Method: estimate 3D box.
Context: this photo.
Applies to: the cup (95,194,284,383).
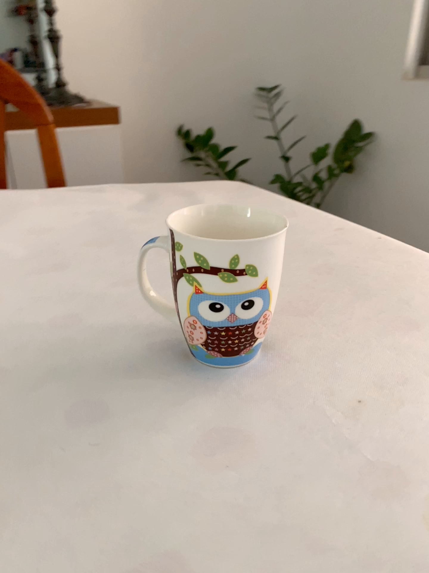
[{"bbox_3d":[-0.012,-0.003,0.316,0.110,0.099,0.080,5,27,9],"label":"cup"}]
